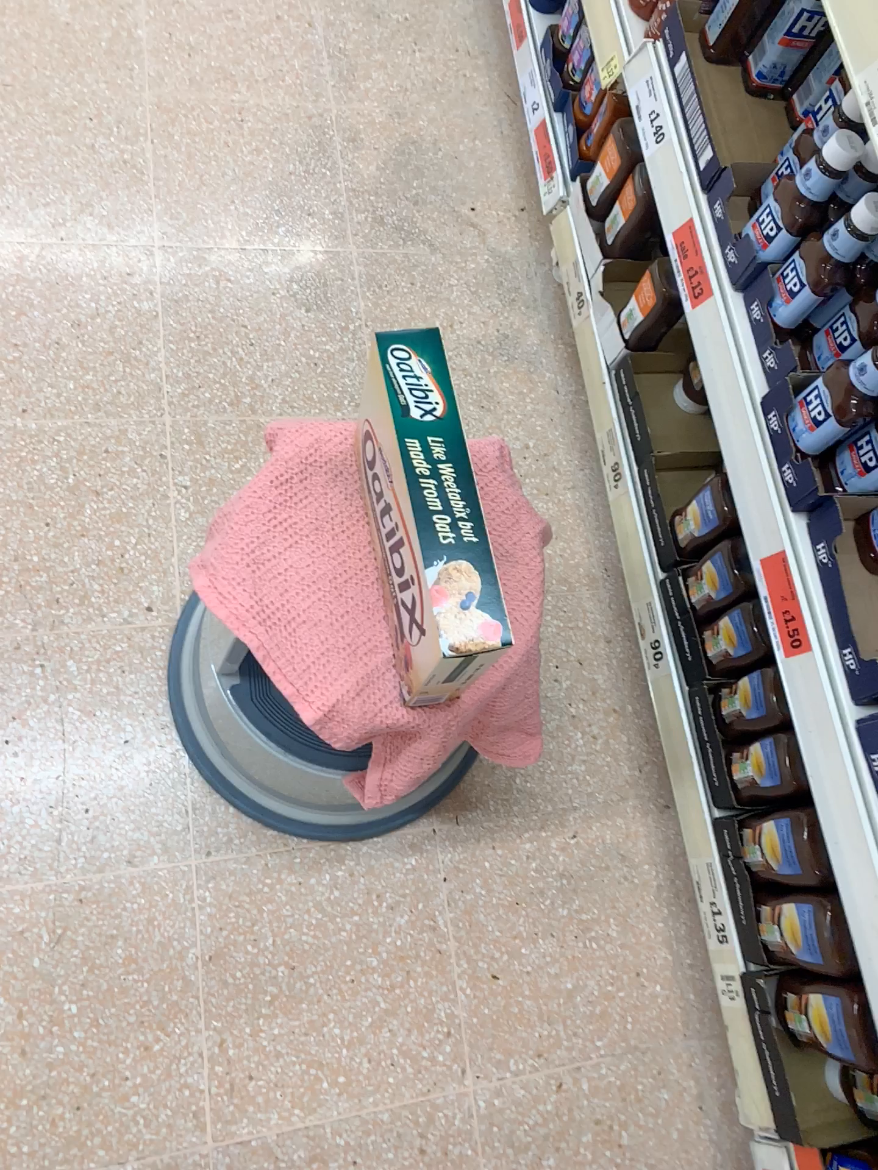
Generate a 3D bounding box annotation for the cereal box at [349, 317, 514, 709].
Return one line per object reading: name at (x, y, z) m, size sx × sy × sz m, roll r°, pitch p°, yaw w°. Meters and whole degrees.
cereal box at (-0.018, -0.051, 0.746) m, size 0.060 × 0.189 × 0.271 m, roll -7°, pitch 73°, yaw -12°
